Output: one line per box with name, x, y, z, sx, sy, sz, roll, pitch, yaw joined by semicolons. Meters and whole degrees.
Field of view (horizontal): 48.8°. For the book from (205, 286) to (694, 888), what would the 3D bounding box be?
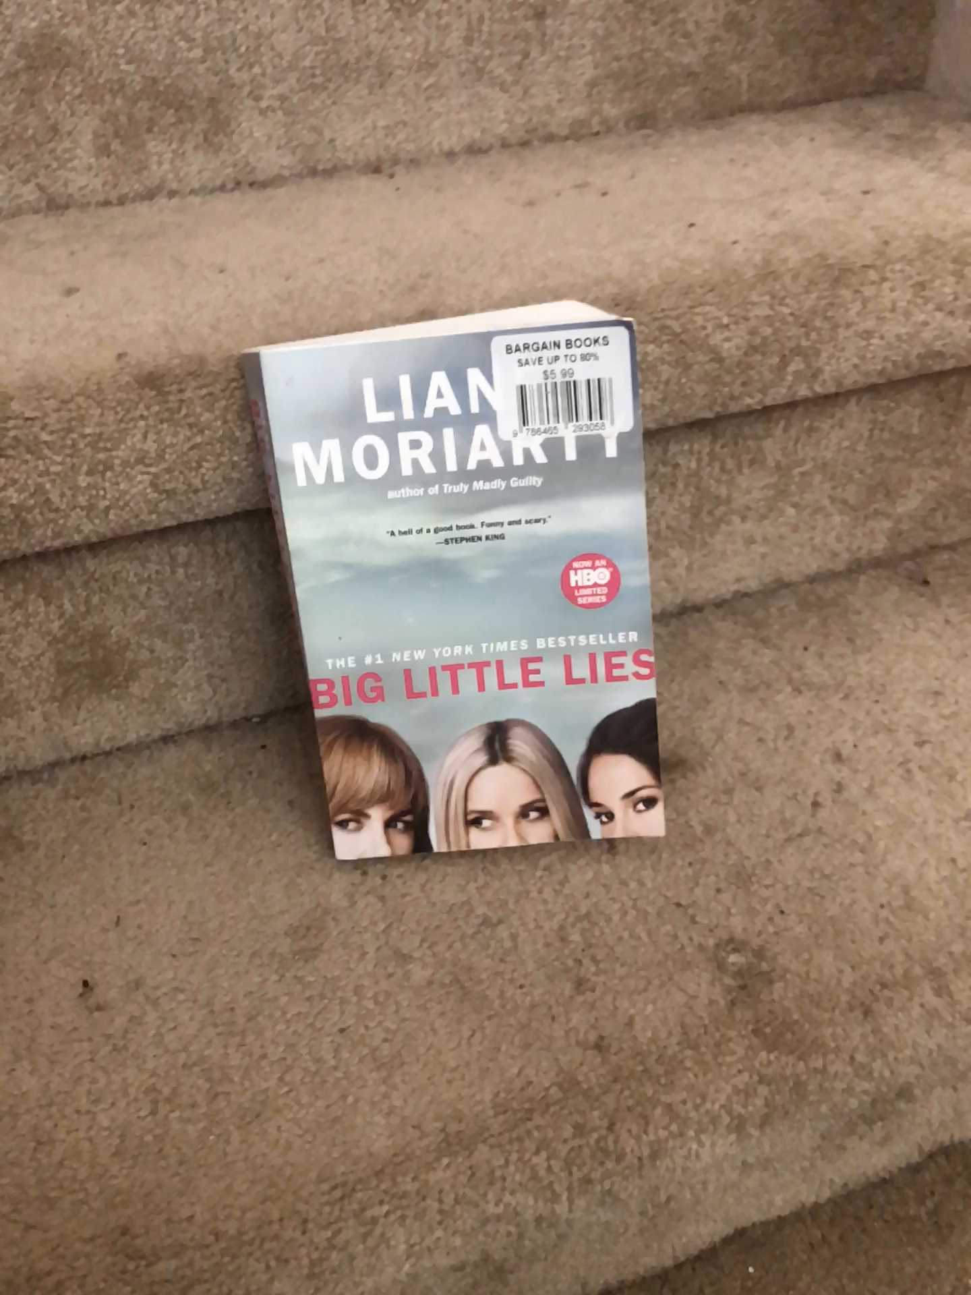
book;-0.007;-0.022;0.415;0.160;0.209;0.050;-7;17;-4
